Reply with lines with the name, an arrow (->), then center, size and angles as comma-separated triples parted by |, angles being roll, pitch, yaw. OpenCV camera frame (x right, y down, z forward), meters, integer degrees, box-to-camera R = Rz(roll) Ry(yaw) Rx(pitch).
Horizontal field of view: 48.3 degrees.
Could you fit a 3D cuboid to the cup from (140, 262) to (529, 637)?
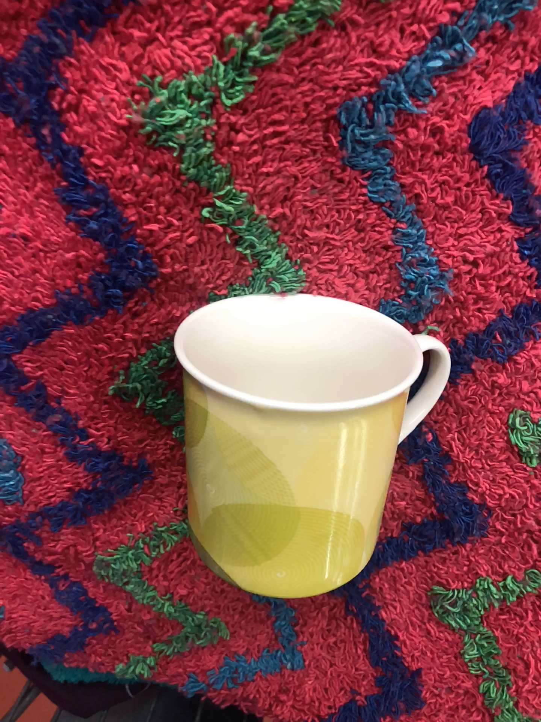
cup -> 0.018, 0.025, 0.233 | 0.110, 0.080, 0.090 | -12, 122, -22
